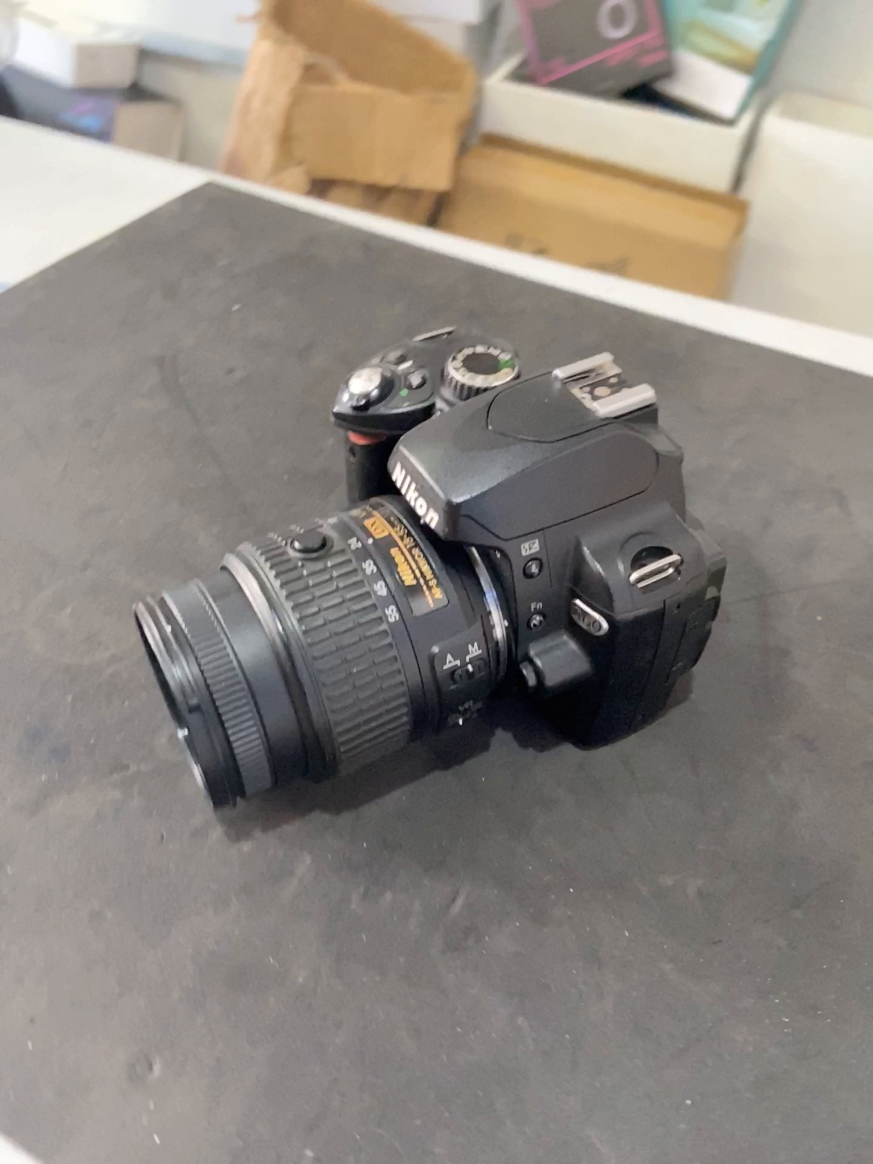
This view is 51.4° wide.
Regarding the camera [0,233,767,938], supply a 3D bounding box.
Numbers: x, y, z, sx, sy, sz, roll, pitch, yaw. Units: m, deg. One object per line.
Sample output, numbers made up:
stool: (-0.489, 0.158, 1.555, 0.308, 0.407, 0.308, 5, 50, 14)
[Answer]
camera: (-0.019, -0.011, 0.250, 0.140, 0.088, 0.130, -24, 51, -21)
